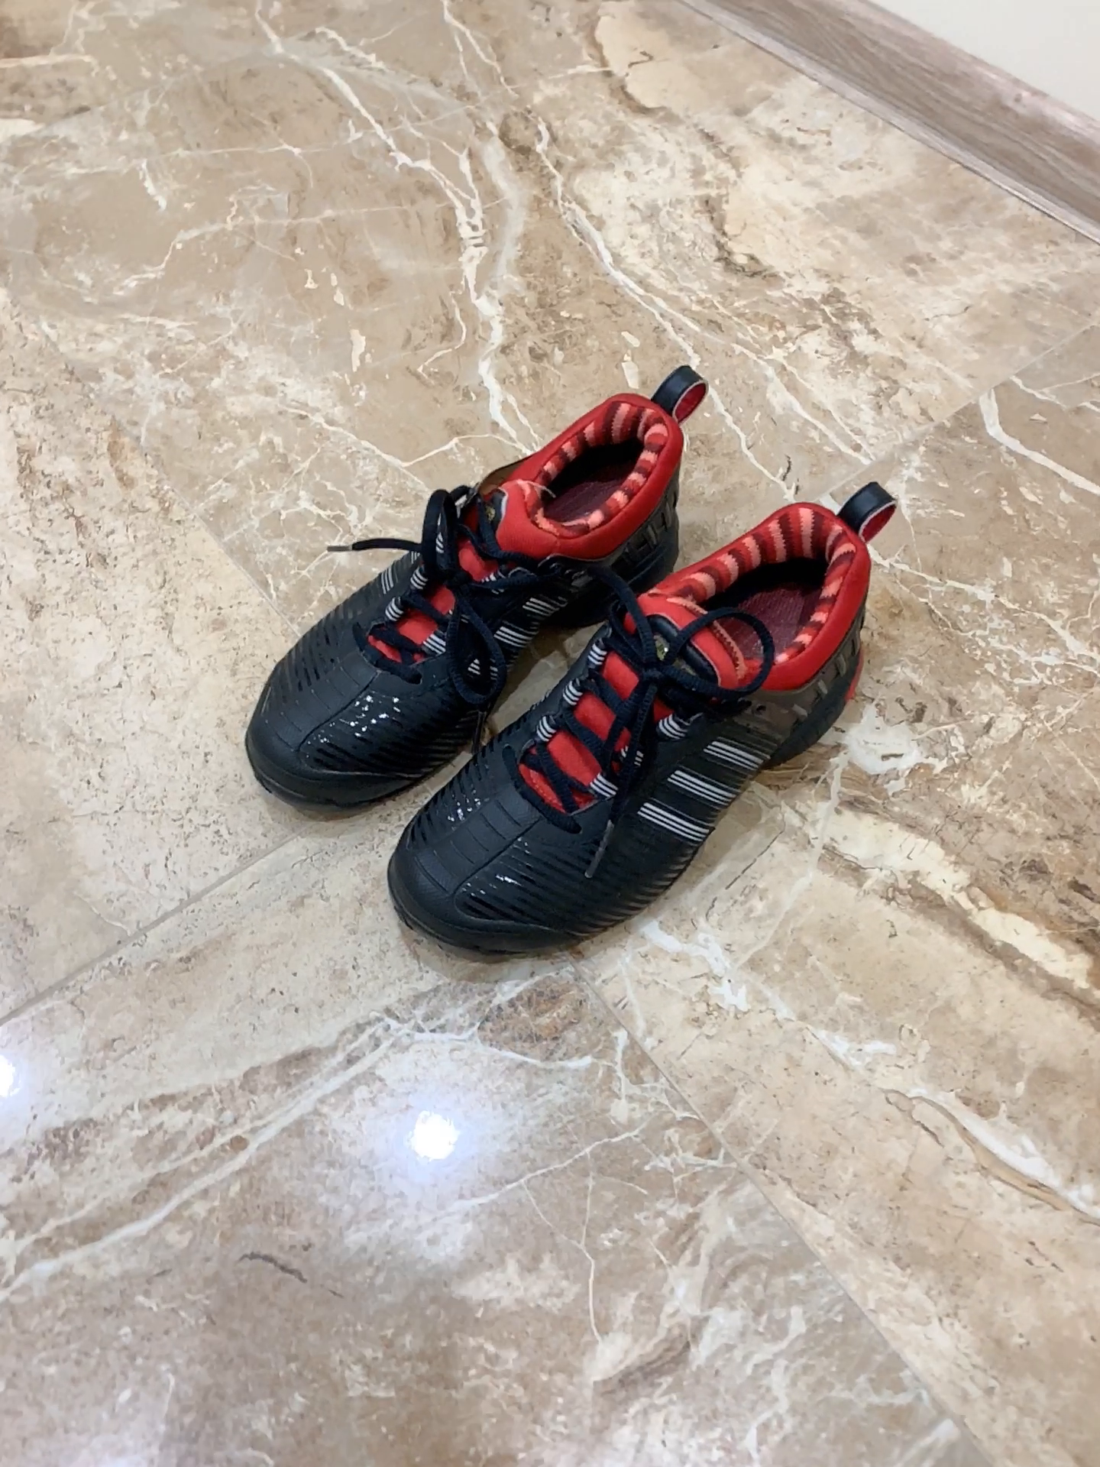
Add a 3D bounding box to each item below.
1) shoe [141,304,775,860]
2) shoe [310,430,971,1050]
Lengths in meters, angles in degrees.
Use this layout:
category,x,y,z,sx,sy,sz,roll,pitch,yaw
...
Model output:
category,x,y,z,sx,sy,sz,roll,pitch,yaw
shoe,-0.030,-0.077,0.514,0.270,0.090,0.095,-38,65,-22
shoe,0.044,-0.006,0.477,0.270,0.090,0.095,-38,65,-22
